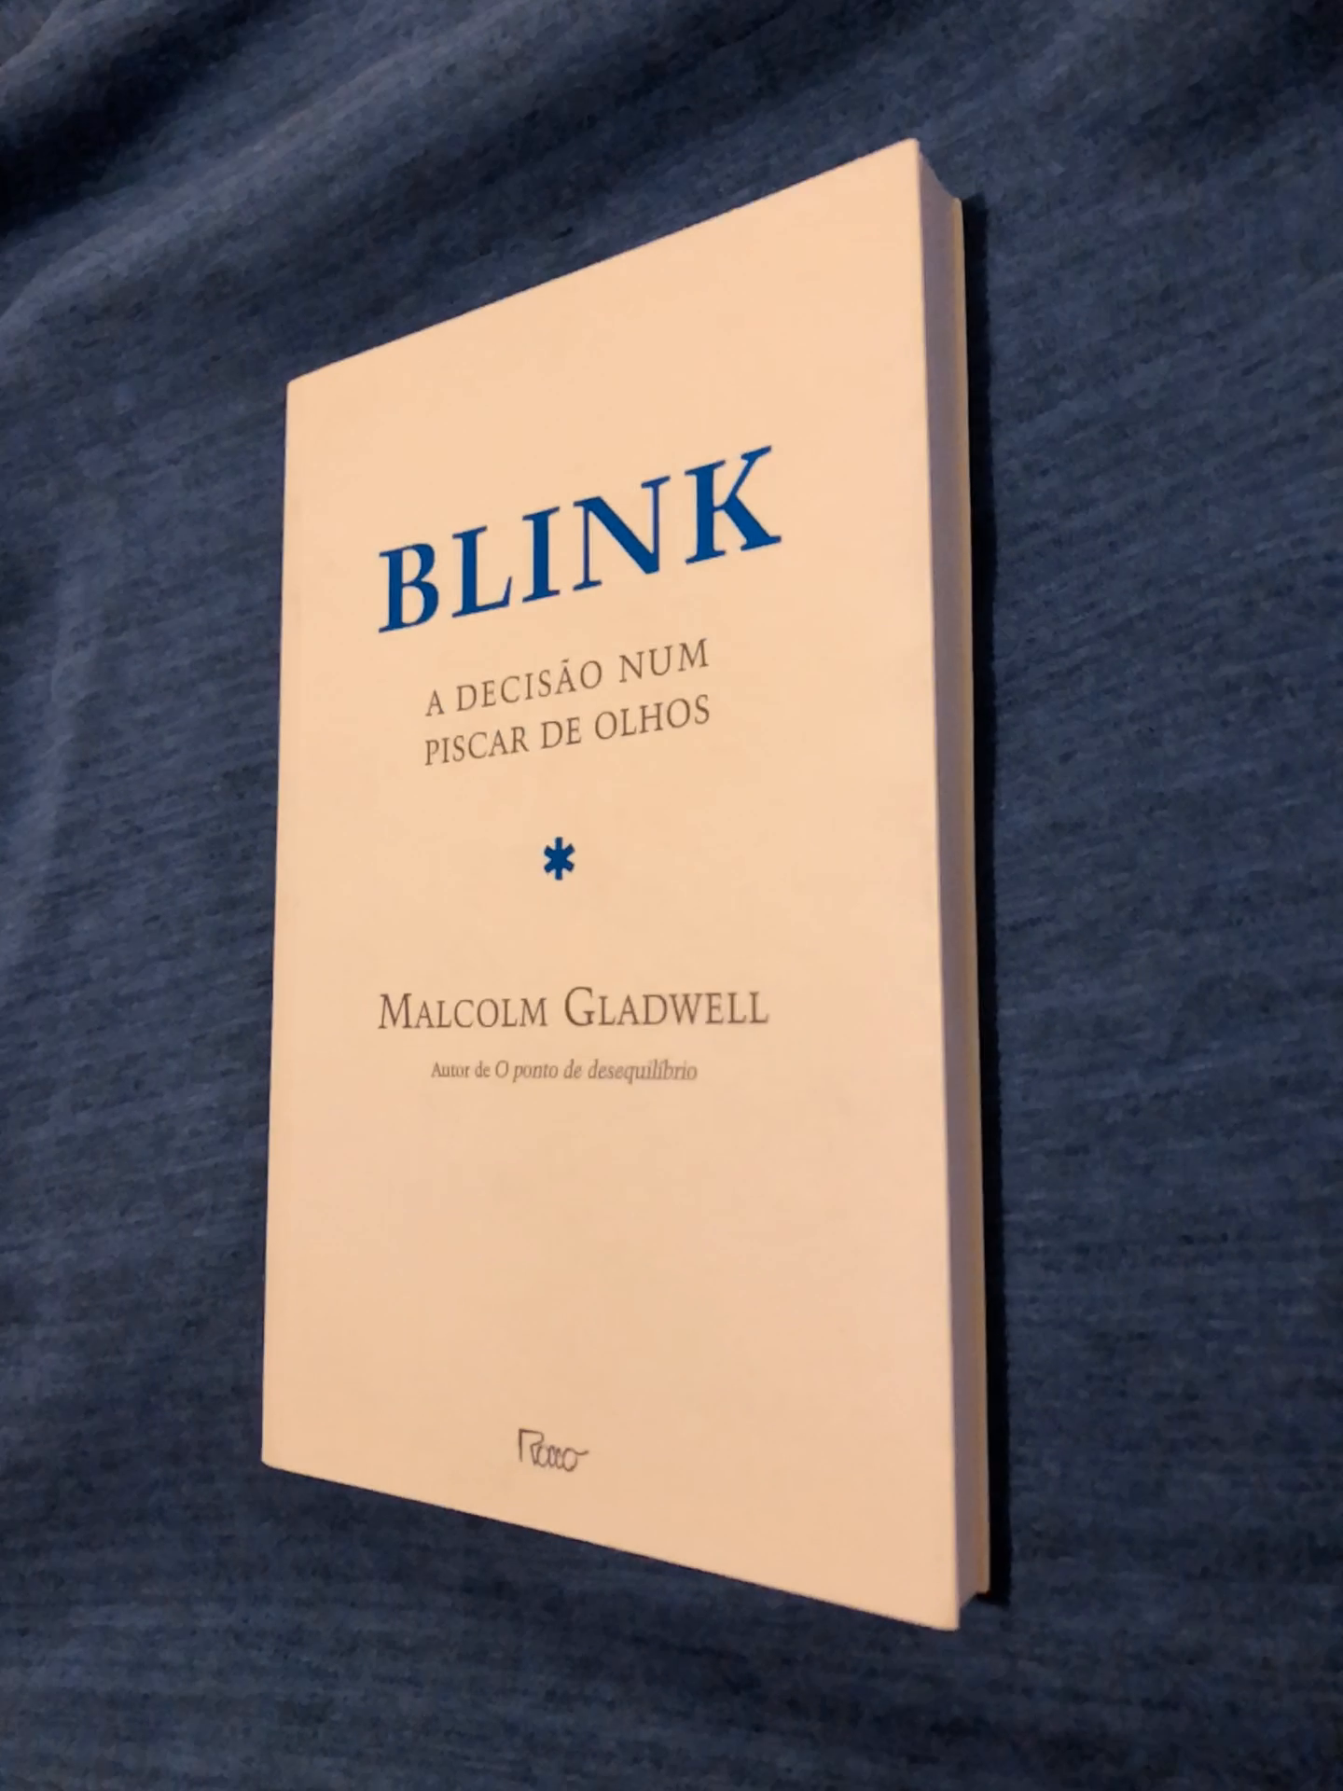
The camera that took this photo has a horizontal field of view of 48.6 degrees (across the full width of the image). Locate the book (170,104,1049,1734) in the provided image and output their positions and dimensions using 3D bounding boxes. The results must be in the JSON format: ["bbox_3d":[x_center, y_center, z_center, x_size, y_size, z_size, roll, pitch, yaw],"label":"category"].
[{"bbox_3d":[-0.015,0.000,0.253,0.151,0.030,0.220,-4,79,34],"label":"book"}]
